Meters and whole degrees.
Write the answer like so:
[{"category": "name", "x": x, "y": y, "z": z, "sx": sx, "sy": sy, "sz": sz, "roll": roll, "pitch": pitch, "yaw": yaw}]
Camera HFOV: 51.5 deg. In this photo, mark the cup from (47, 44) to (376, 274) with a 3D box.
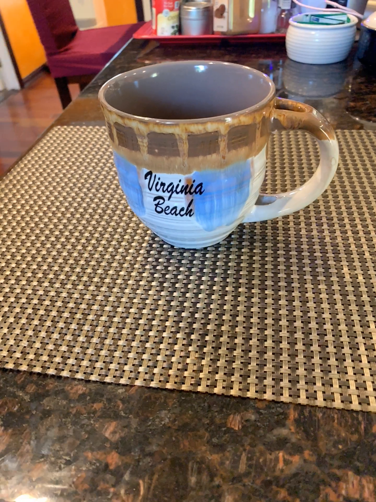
[{"category": "cup", "x": 0.019, "y": -0.063, "z": 0.238, "sx": 0.150, "sy": 0.090, "sz": 0.100, "roll": 8, "pitch": 43, "yaw": 13}]
